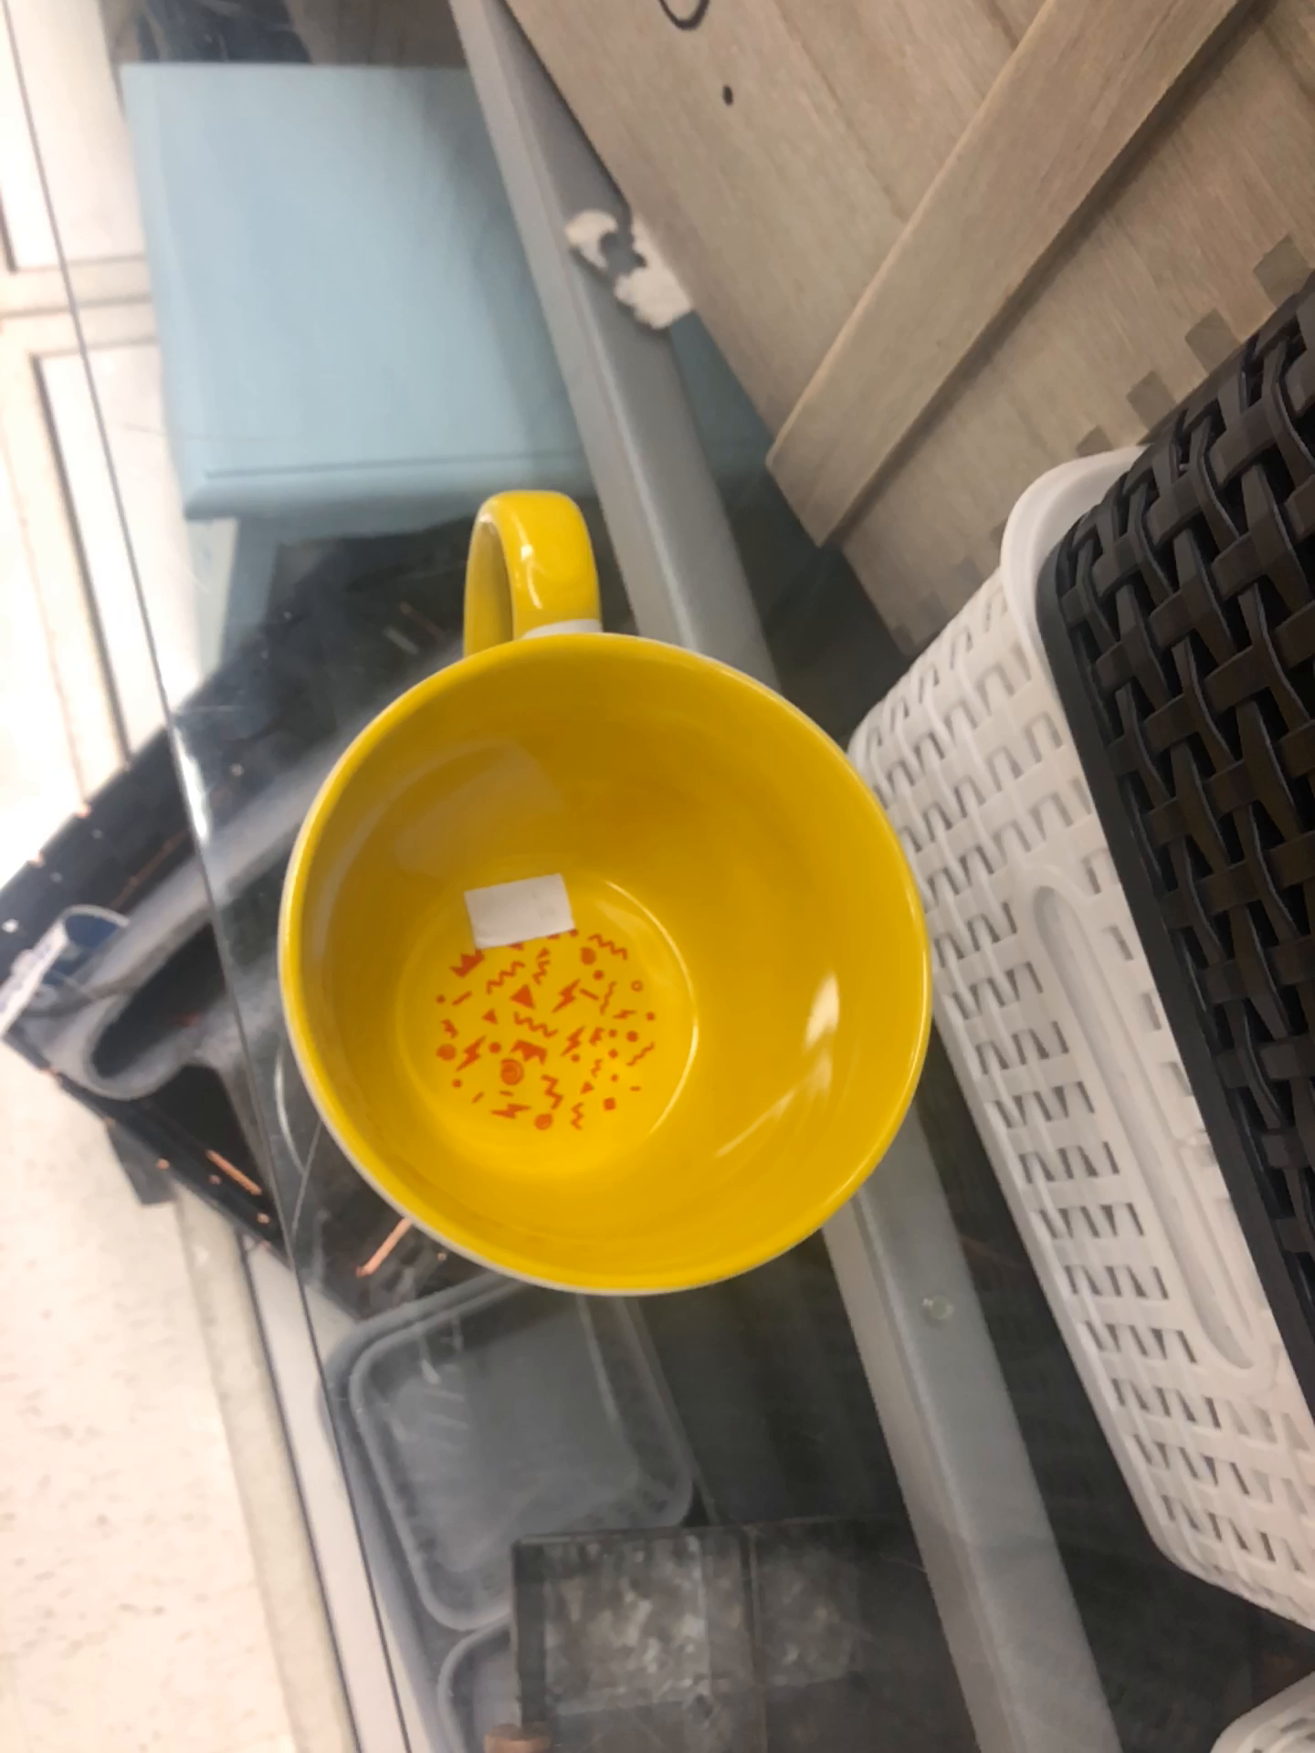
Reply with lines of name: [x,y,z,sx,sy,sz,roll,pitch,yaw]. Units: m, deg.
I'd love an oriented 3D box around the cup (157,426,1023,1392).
cup: [-0.019,0.005,0.303,0.126,0.076,0.156,-12,80,-15]
